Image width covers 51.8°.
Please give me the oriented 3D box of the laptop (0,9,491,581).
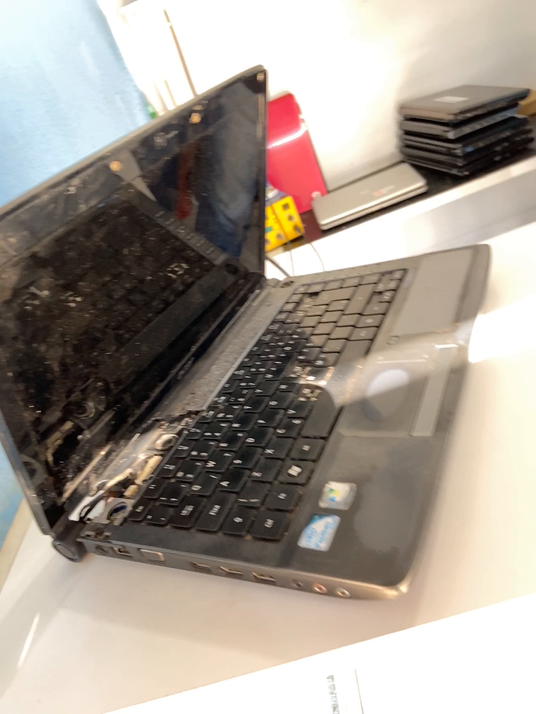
[{"bbox_3d":[-0.010,-0.068,0.374,0.228,0.182,0.335,-5,33,33],"label":"laptop"}]
